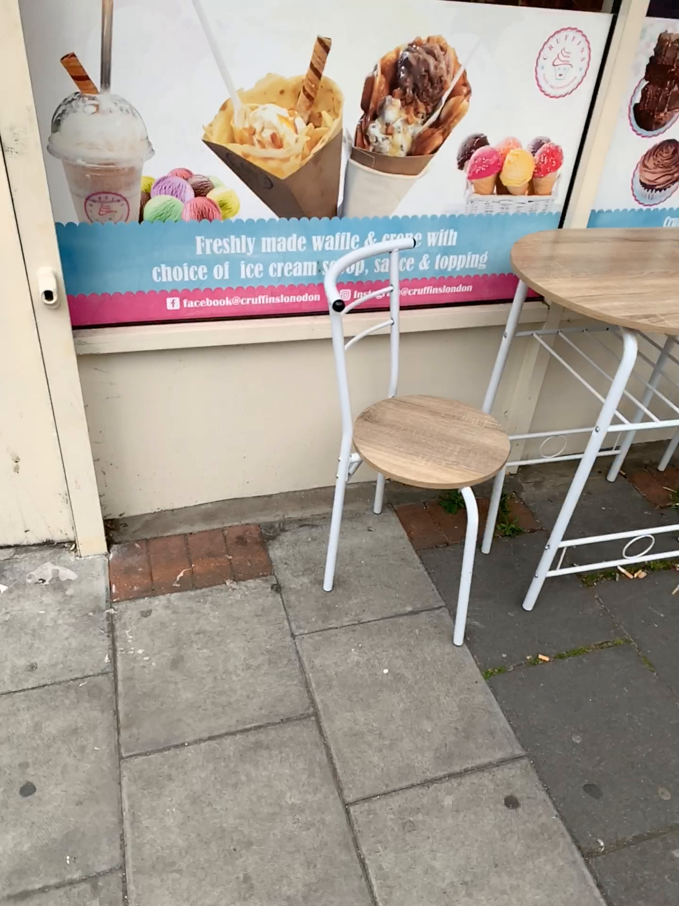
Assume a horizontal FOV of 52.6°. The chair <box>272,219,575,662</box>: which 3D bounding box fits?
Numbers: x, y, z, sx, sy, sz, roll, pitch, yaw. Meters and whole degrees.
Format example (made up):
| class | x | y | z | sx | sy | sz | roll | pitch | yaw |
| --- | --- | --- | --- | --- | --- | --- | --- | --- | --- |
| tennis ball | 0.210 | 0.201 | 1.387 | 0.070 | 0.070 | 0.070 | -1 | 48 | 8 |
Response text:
| class | x | y | z | sx | sy | sz | roll | pitch | yaw |
| --- | --- | --- | --- | --- | --- | --- | --- | --- | --- |
| chair | 0.181 | -0.043 | 1.570 | 0.500 | 0.752 | 0.535 | 13 | 35 | 11 |
